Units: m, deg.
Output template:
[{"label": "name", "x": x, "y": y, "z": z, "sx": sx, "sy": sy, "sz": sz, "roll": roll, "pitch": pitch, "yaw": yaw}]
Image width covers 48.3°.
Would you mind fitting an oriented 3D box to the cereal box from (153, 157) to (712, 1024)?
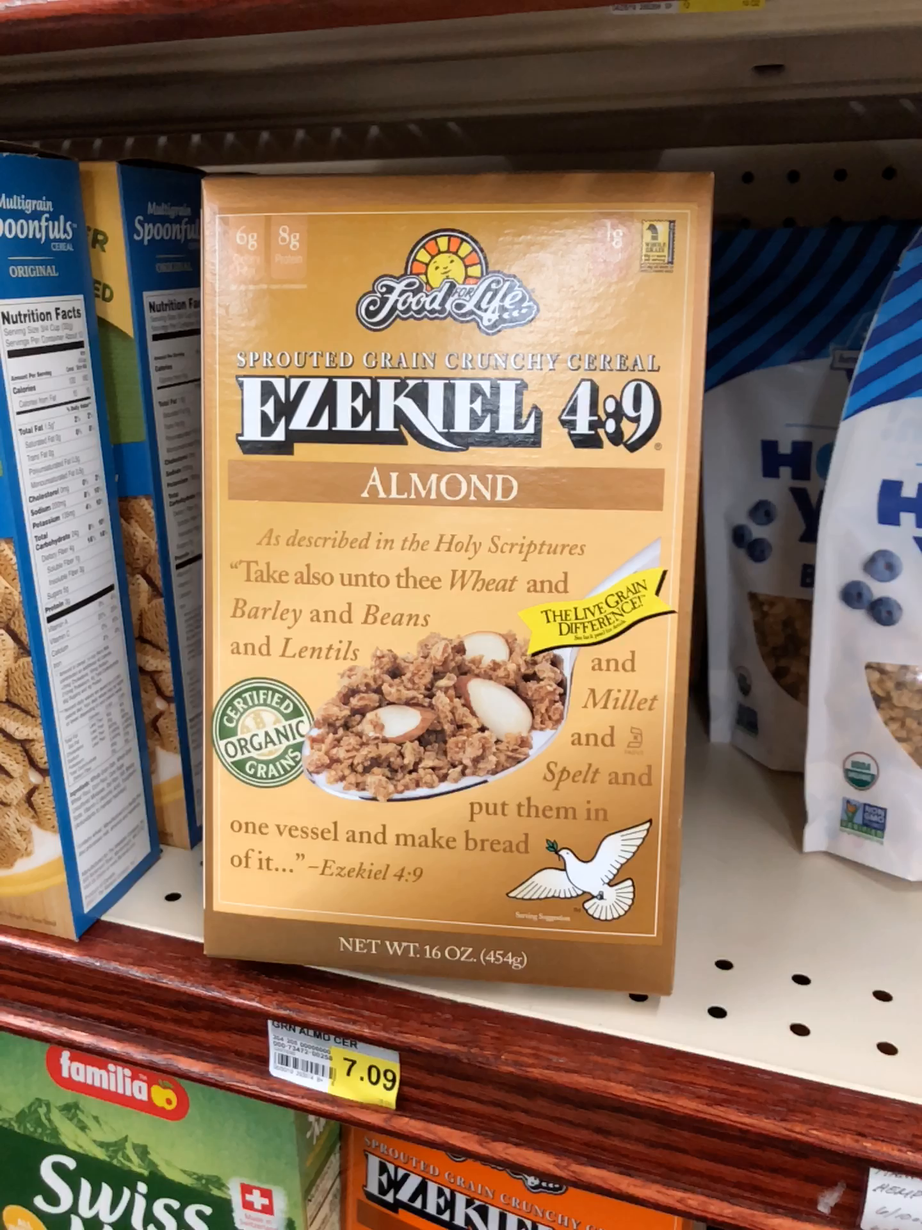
[{"label": "cereal box", "x": -0.009, "y": -0.007, "z": 0.297, "sx": 0.140, "sy": 0.220, "sz": 0.060, "roll": 2, "pitch": 7, "yaw": 6}]
